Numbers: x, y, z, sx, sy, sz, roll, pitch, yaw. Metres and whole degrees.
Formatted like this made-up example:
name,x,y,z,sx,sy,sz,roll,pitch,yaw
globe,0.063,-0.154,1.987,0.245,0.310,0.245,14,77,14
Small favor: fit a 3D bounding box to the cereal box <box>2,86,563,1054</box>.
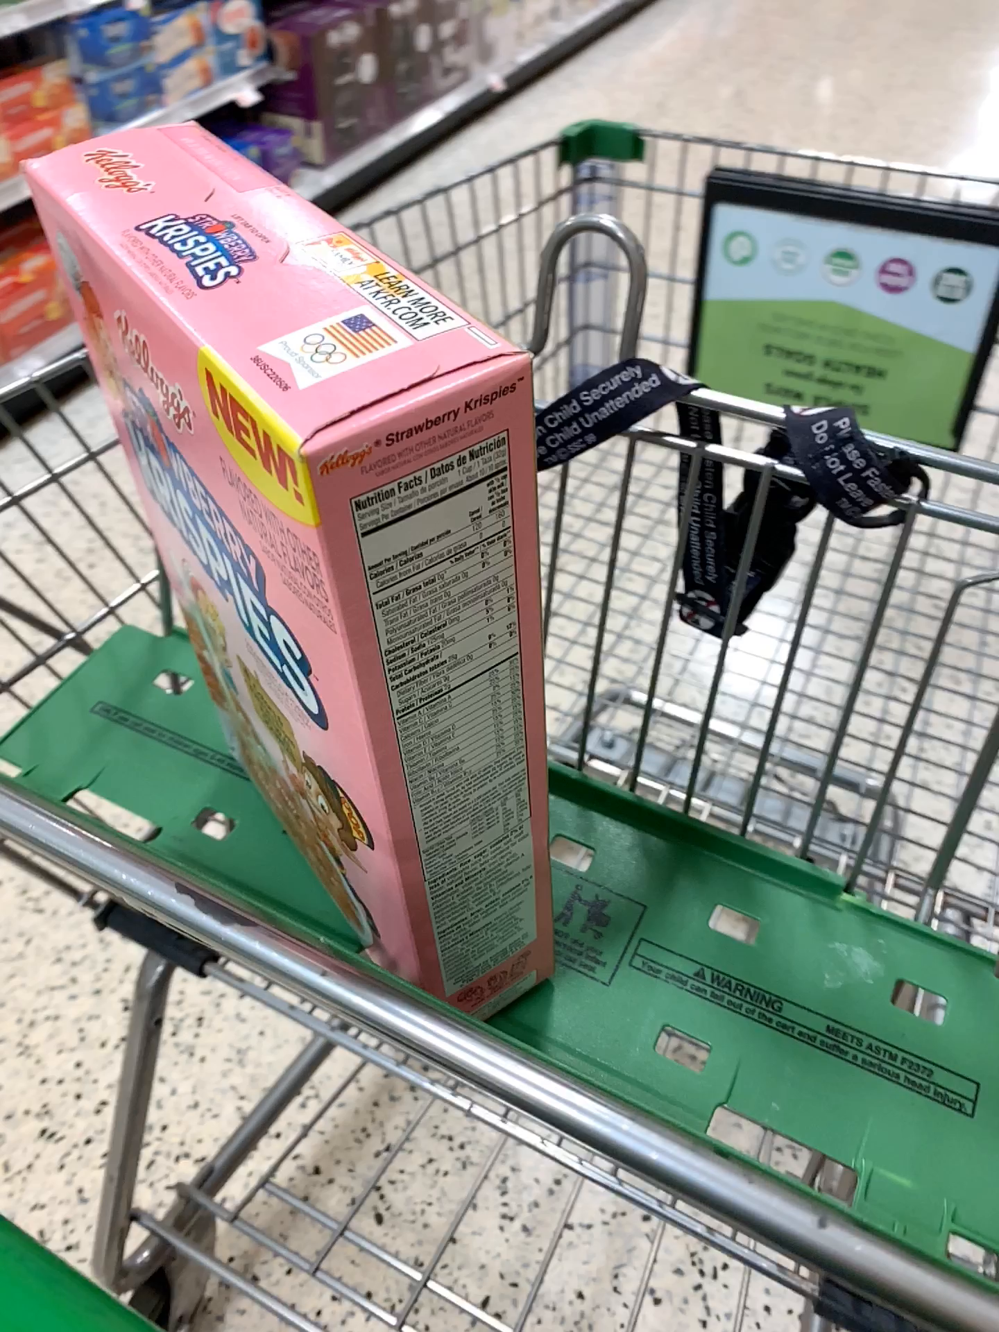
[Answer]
name,x,y,z,sx,sy,sz,roll,pitch,yaw
cereal box,-0.064,-0.018,0.384,0.060,0.297,0.211,-28,52,-21
